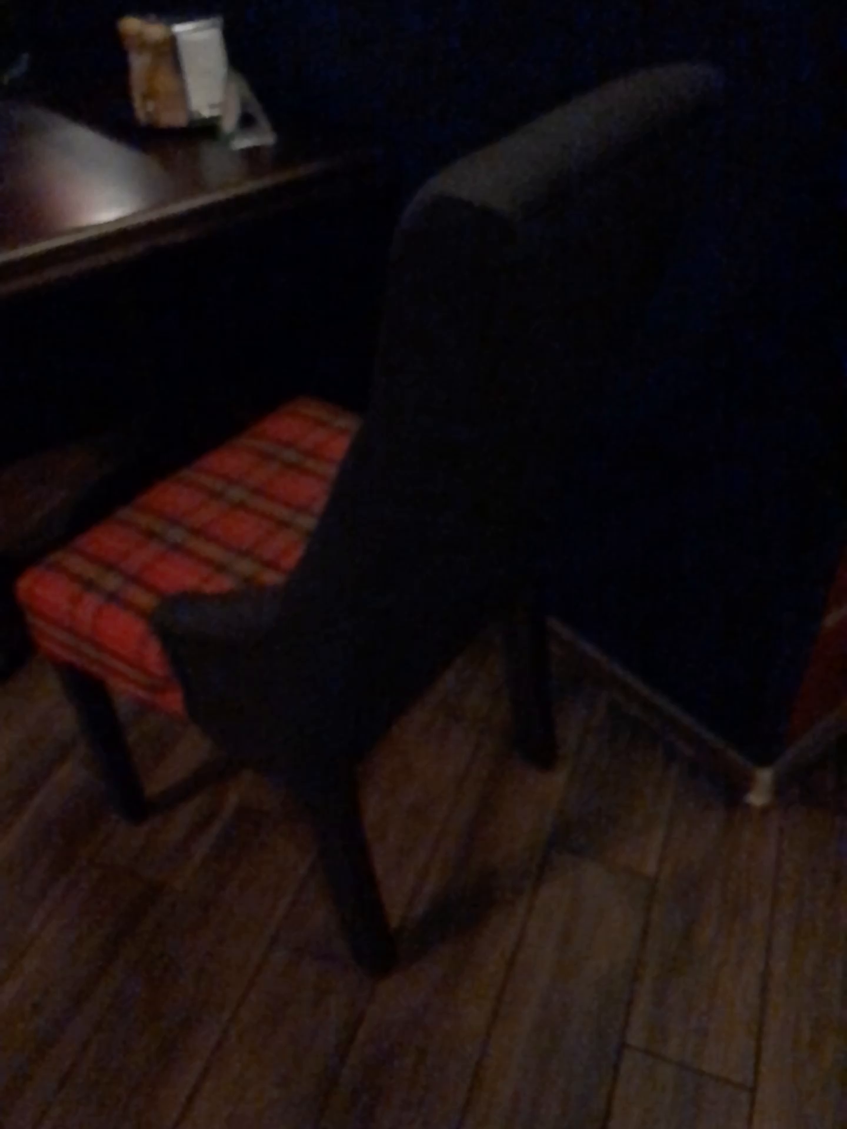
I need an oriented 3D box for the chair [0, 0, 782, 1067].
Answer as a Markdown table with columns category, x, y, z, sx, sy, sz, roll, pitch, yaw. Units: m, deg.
| category | x | y | z | sx | sy | sz | roll | pitch | yaw |
| --- | --- | --- | --- | --- | --- | --- | --- | --- | --- |
| chair | -0.074 | -0.048 | 1.097 | 0.611 | 1.003 | 0.523 | 23 | 46 | 29 |
